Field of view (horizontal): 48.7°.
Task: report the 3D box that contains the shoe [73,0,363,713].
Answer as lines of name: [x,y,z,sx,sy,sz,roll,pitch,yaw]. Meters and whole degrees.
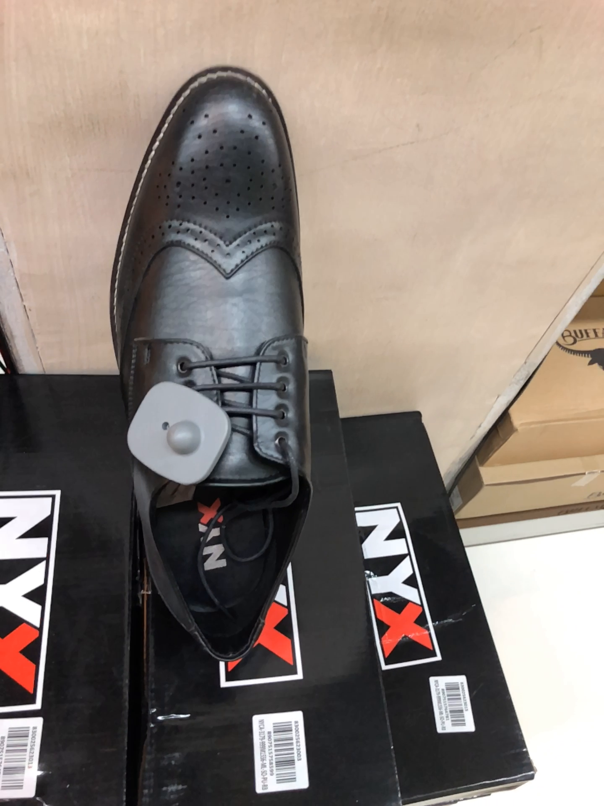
shoe: [-0.046,-0.015,0.333,0.107,0.296,0.107,-1,15,-13]
